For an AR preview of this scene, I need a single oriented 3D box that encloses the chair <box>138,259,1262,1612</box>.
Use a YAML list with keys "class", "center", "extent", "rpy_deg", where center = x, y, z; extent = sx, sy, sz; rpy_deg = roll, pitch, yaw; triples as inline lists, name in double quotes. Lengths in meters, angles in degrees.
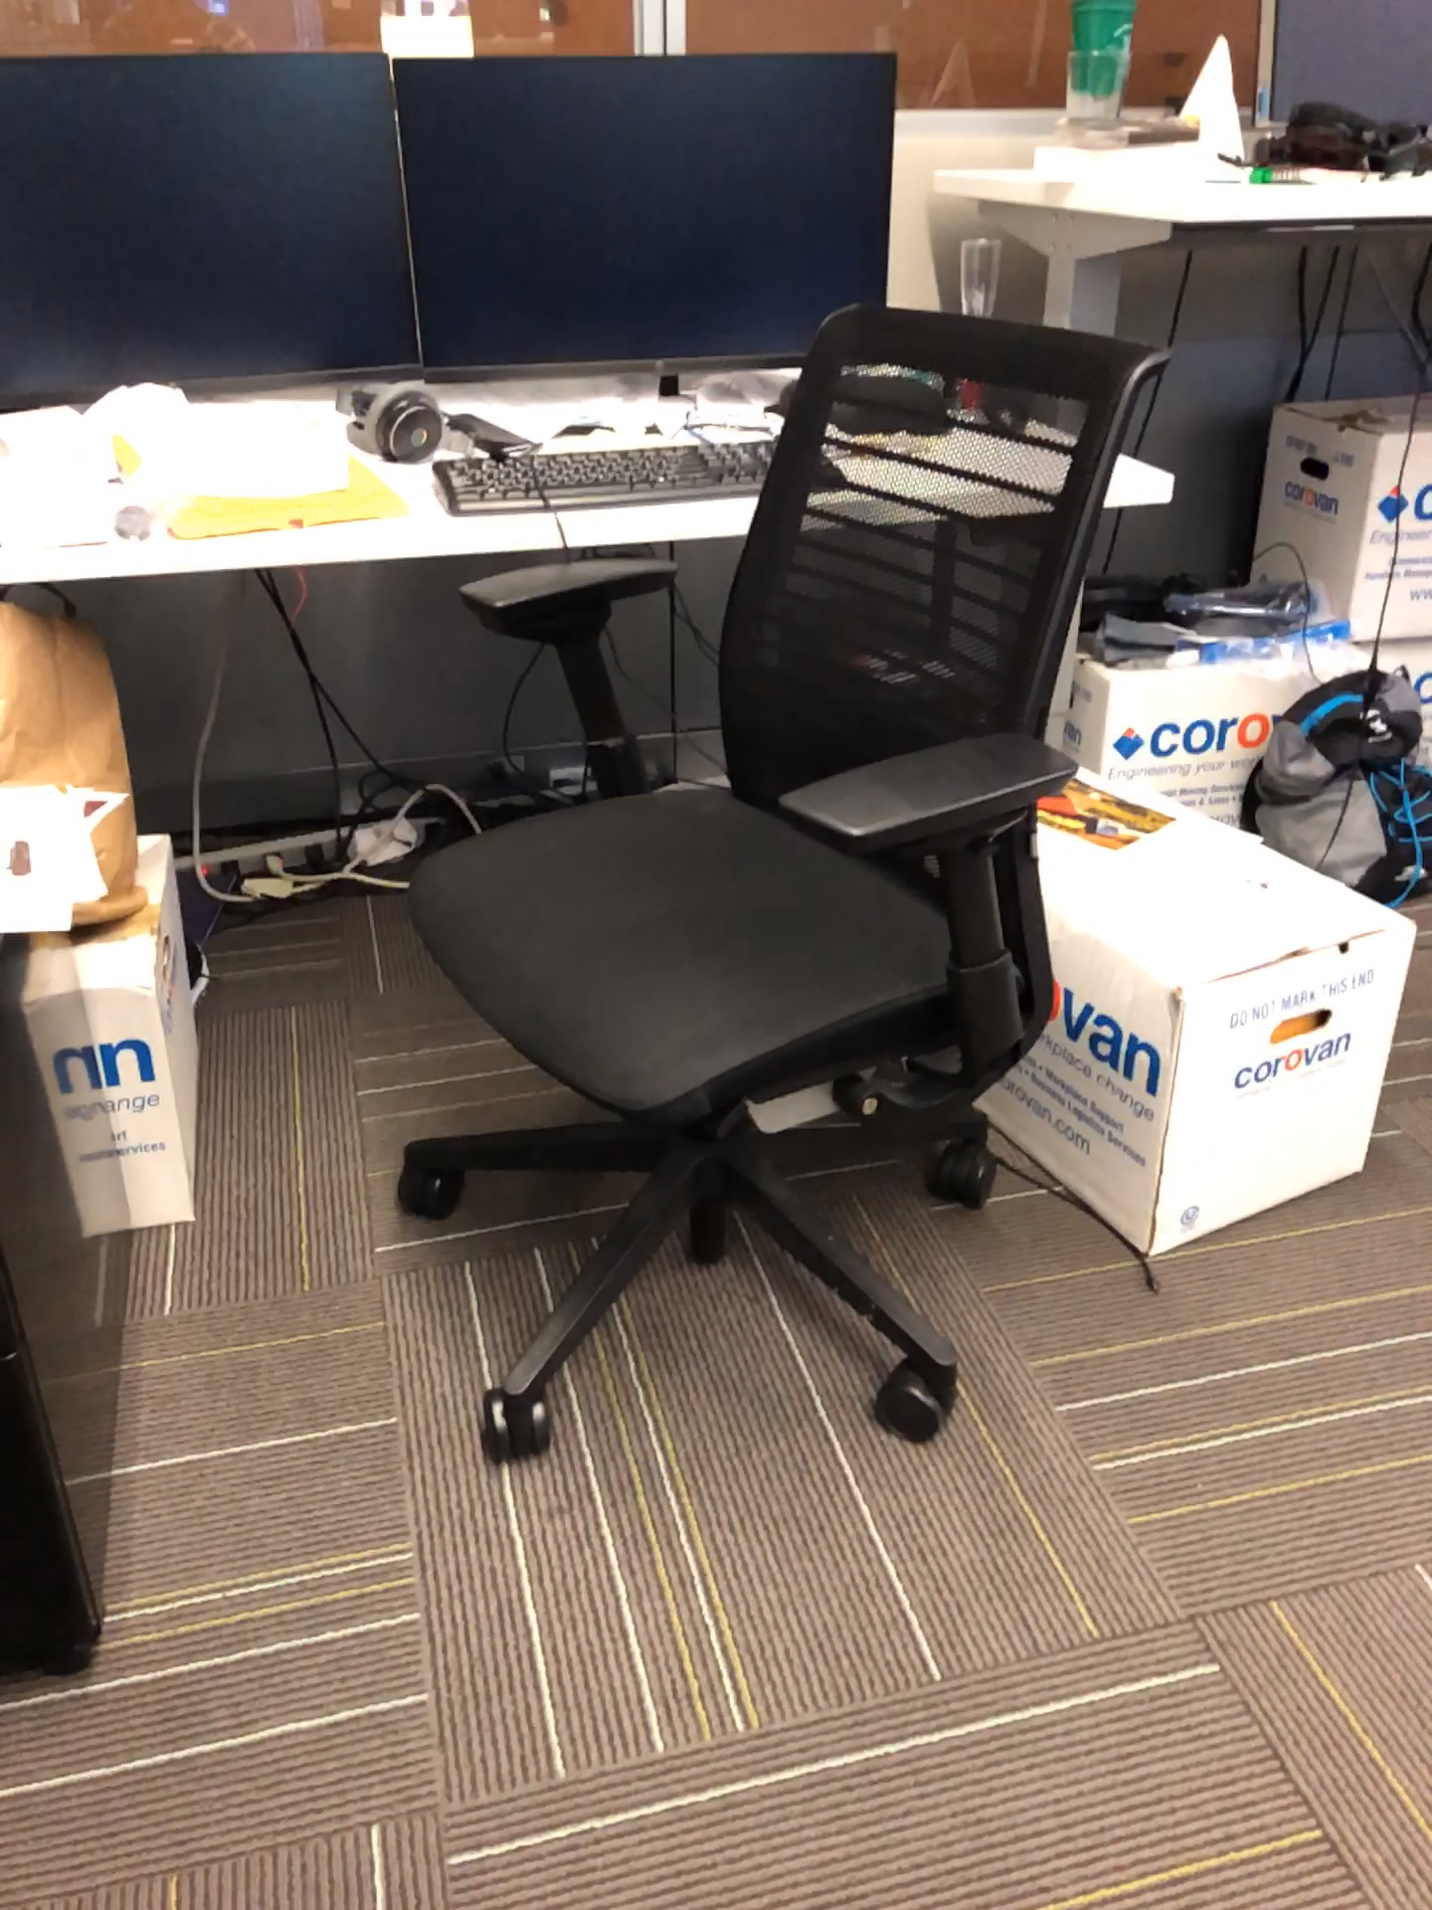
- class: "chair"
  center: [-0.041, -0.095, 1.447]
  extent: [0.611, 0.935, 0.672]
  rpy_deg: [-19, 33, -30]
